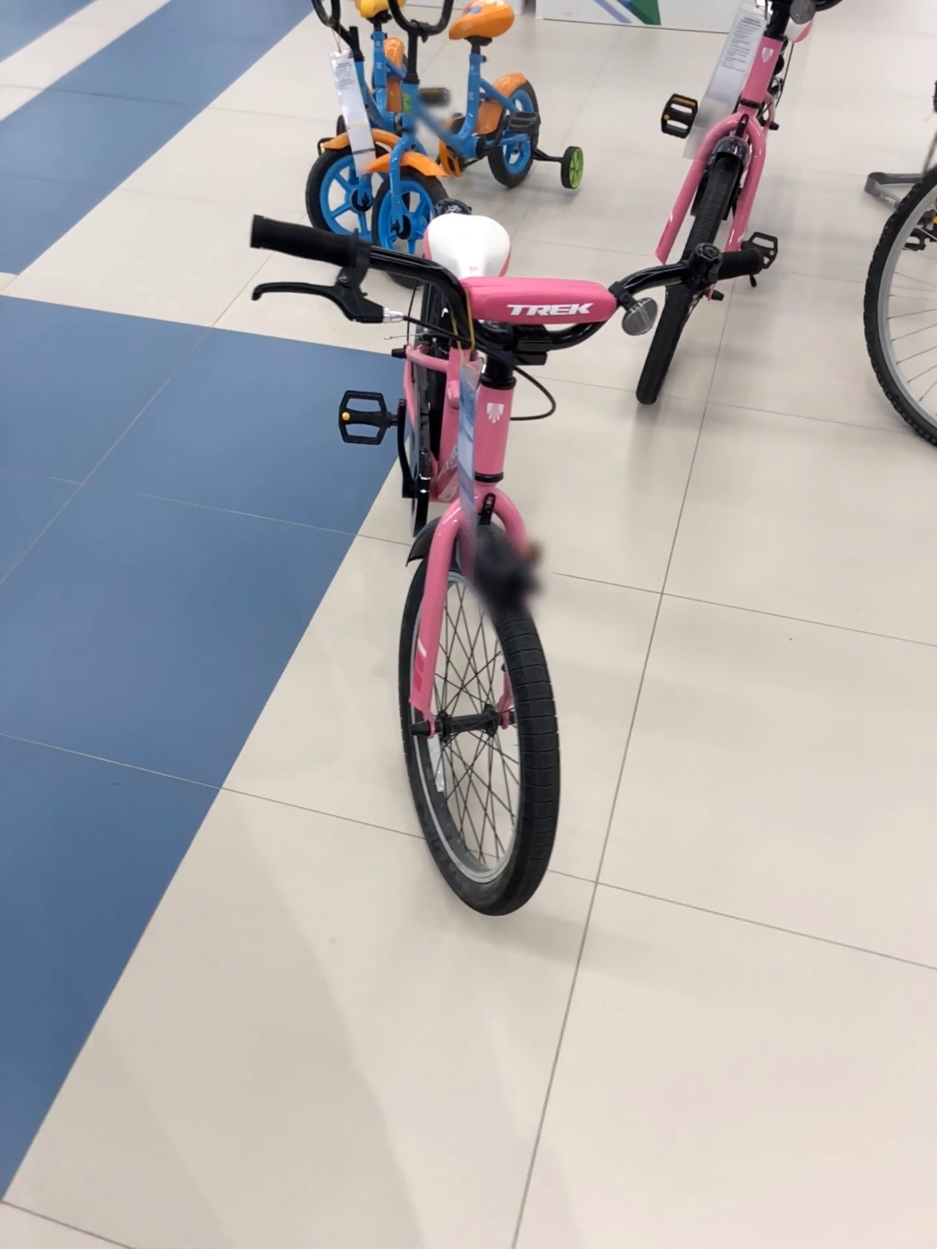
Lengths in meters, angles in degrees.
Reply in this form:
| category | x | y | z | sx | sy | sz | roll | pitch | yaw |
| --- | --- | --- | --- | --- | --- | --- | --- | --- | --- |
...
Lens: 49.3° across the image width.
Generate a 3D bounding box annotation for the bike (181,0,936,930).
| category | x | y | z | sx | sy | sz | roll | pitch | yaw |
| --- | --- | --- | --- | --- | --- | --- | --- | --- | --- |
| bike | 0.036 | -0.363 | 1.457 | 0.555 | 0.835 | 1.302 | -5 | 42 | -4 |
